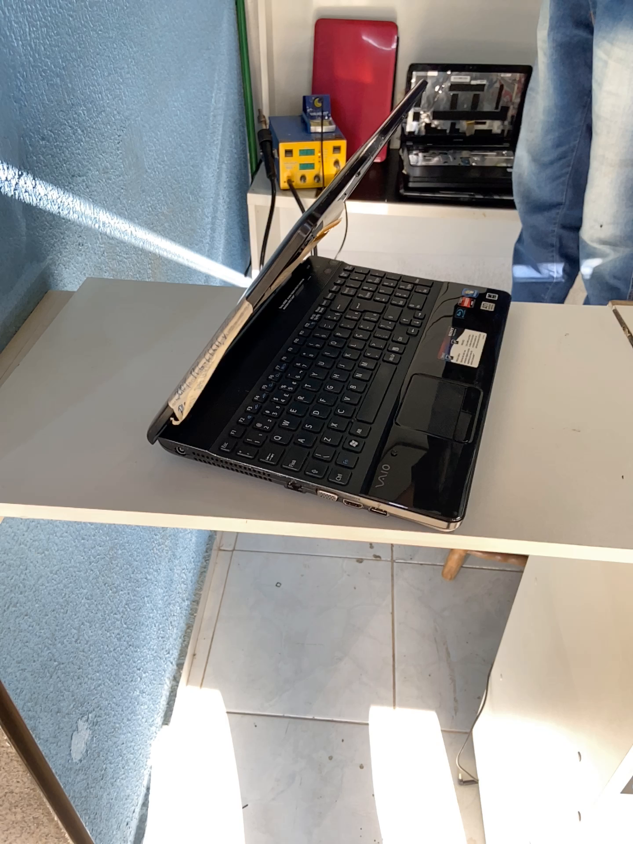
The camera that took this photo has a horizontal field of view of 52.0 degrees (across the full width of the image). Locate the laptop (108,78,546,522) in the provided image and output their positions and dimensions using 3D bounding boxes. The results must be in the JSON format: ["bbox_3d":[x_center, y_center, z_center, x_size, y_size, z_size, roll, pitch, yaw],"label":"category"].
[{"bbox_3d":[0.046,-0.142,0.566,0.241,0.193,0.366,13,40,14],"label":"laptop"}]
